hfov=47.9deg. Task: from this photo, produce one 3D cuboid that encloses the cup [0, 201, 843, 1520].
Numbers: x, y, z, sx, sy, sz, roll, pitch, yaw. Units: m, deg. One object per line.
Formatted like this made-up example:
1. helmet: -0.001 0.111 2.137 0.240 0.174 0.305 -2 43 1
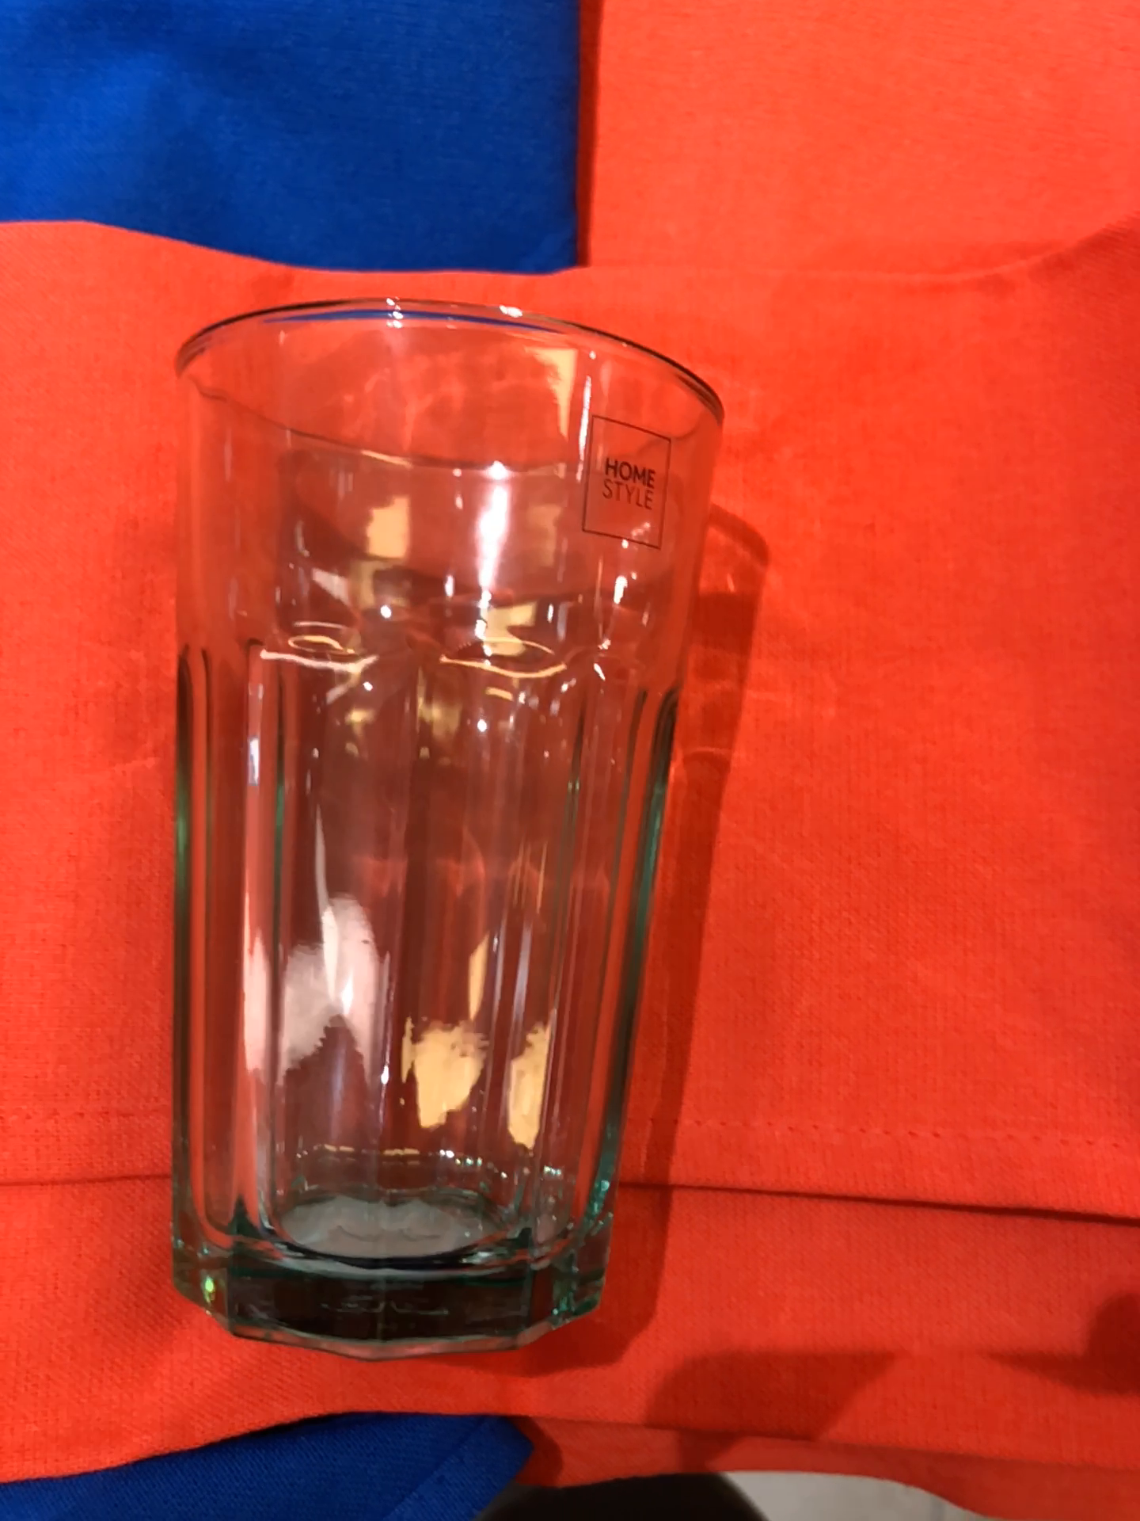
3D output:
1. cup: -0.017 0.012 0.187 0.090 0.070 0.150 4 85 -2
